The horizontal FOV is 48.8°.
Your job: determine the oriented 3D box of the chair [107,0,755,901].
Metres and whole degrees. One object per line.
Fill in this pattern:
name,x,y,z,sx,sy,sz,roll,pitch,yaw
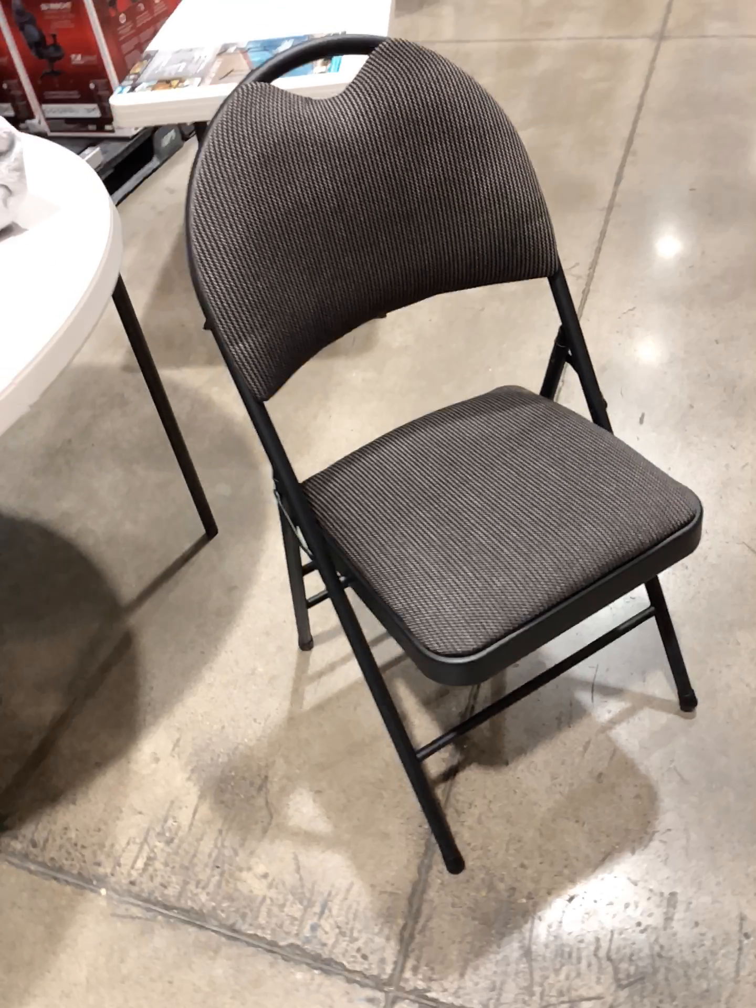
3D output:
chair,0.129,-0.062,1.023,0.510,0.857,0.562,-25,47,-16
